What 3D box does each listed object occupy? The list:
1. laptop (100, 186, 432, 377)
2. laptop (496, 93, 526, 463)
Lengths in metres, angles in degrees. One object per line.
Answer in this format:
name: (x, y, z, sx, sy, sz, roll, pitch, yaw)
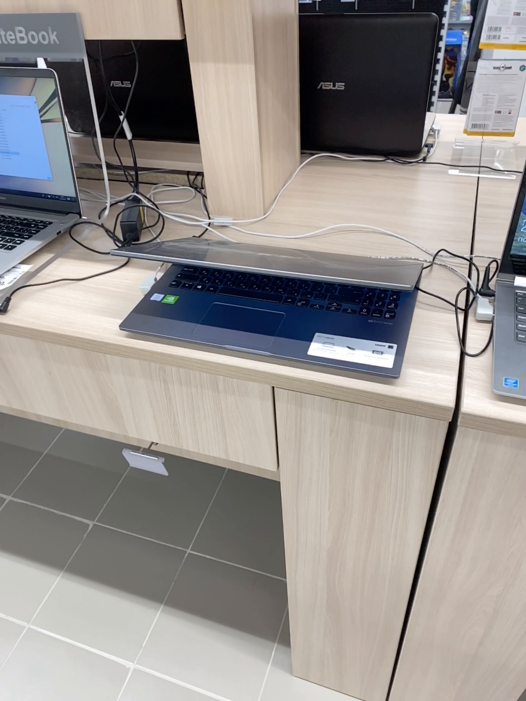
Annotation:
laptop: (0.016, -0.108, 0.693, 0.355, 0.097, 0.230, 10, 40, 17)
laptop: (0.447, -0.098, 0.540, 0.352, 0.222, 0.259, 9, 41, 16)
